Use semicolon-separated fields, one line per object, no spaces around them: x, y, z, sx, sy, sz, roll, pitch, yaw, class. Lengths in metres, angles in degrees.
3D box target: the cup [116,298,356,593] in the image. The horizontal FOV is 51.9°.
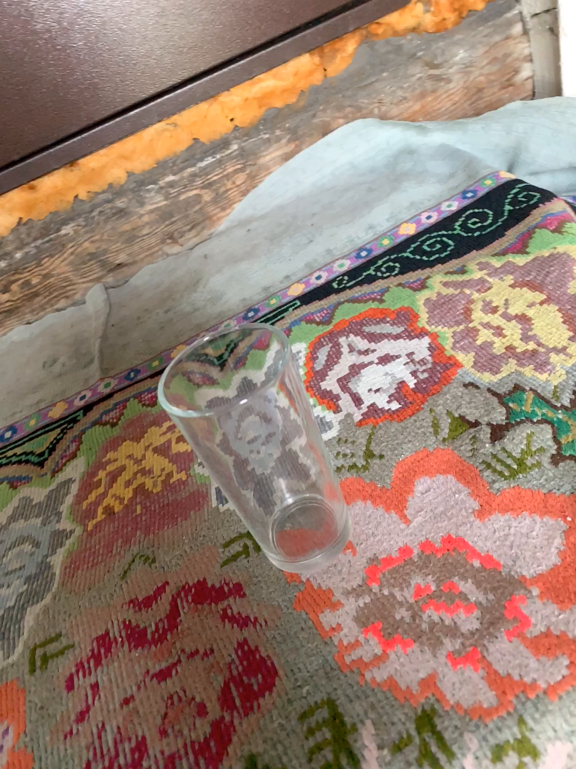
-0.014;0.033;0.273;0.060;0.119;0.060;-16;36;12;cup
